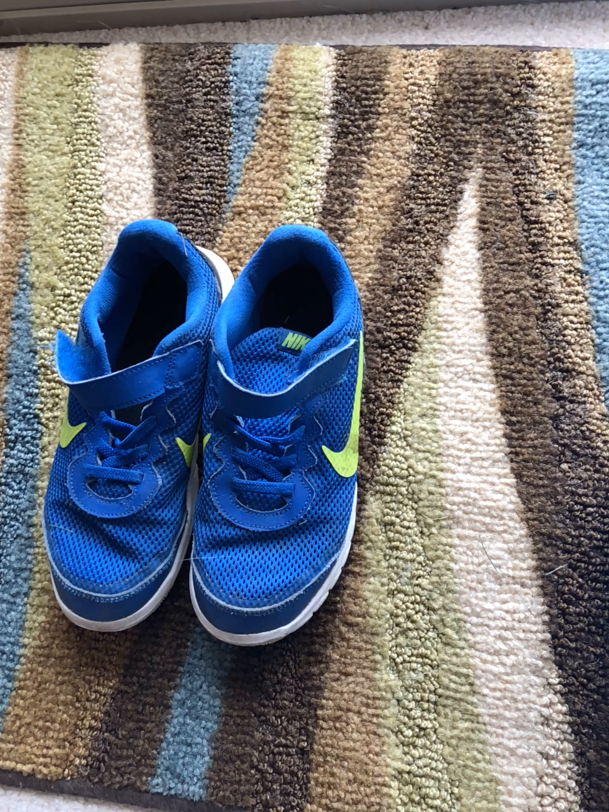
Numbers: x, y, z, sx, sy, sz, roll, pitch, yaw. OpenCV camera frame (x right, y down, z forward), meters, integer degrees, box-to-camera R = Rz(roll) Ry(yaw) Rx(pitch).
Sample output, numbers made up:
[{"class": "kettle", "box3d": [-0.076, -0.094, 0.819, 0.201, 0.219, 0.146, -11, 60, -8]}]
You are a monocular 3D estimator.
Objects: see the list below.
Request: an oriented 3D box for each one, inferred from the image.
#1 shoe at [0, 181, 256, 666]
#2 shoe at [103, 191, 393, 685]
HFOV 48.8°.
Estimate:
[{"class": "shoe", "box3d": [-0.108, 0.006, 0.370, 0.102, 0.075, 0.233, 10, 76, 8]}, {"class": "shoe", "box3d": [-0.019, 0.012, 0.358, 0.103, 0.075, 0.231, 7, 76, 8]}]
